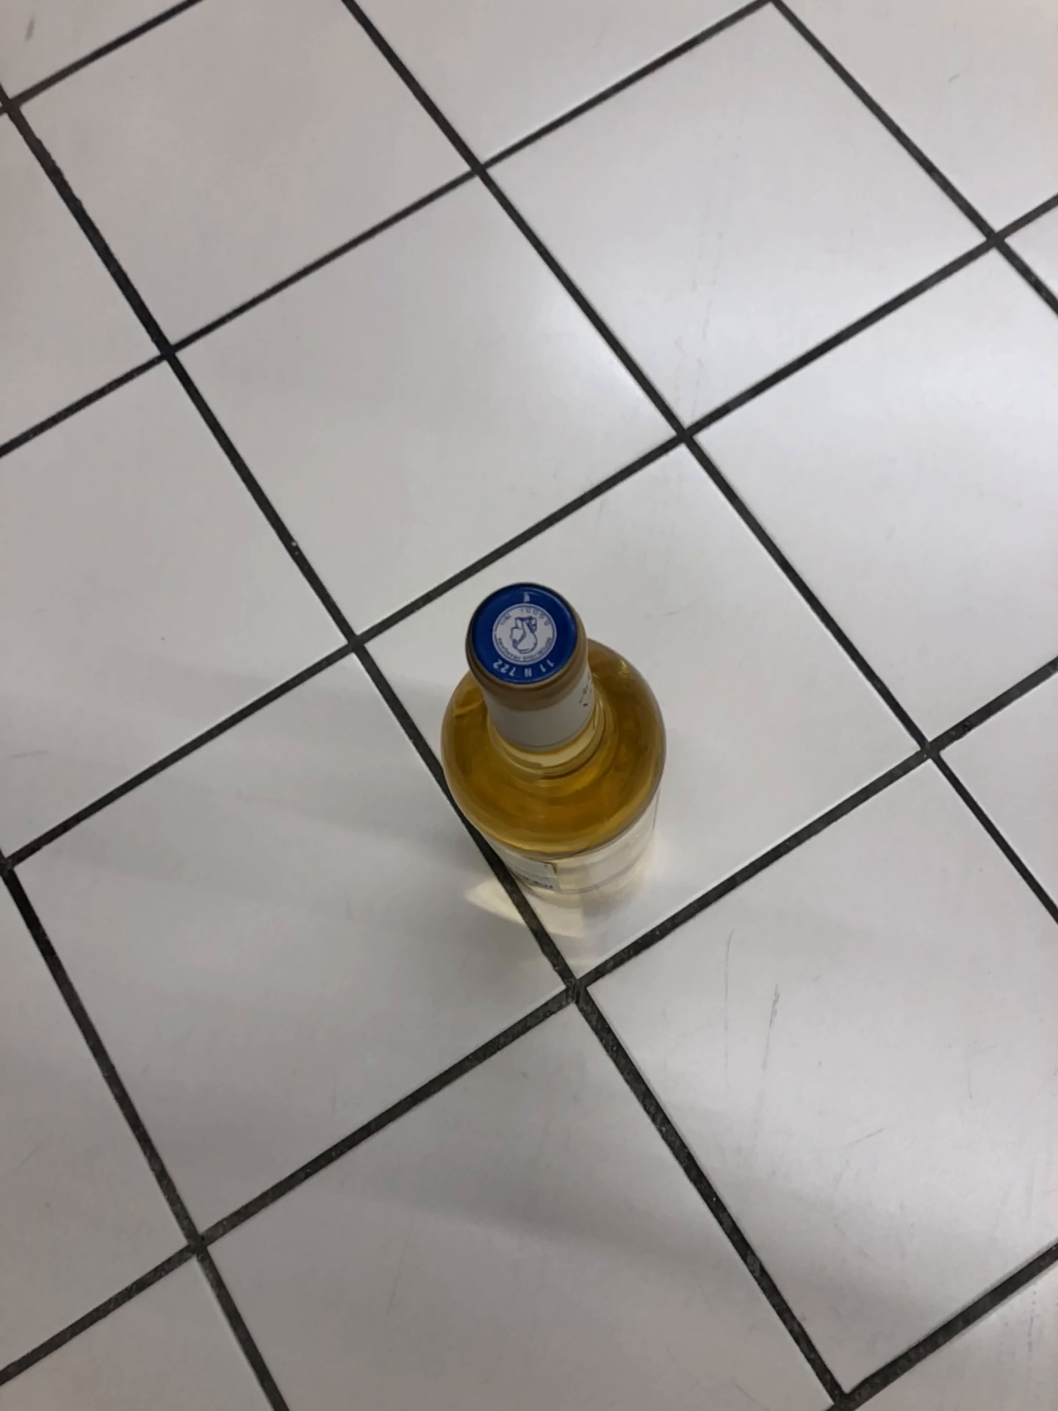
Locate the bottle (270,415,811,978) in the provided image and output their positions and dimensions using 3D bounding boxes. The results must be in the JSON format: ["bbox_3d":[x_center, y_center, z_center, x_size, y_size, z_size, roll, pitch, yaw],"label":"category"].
[{"bbox_3d":[0.010,0.027,0.411,0.090,0.290,0.090,-1,75,3],"label":"bottle"}]
